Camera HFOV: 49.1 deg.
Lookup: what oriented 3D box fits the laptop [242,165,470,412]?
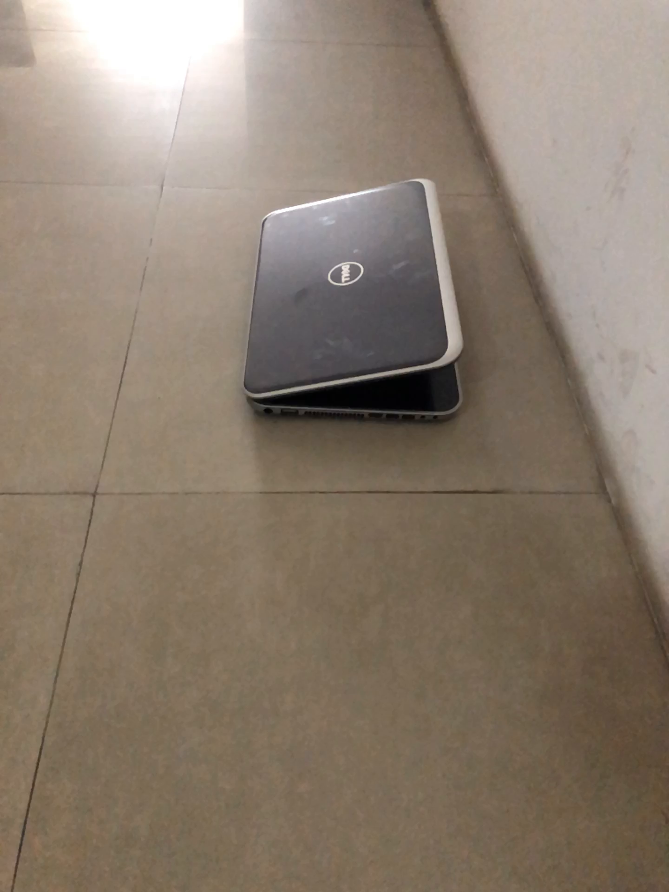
[{"bbox_3d":[0.020,-0.207,0.895,0.234,0.079,0.362,1,51,-1],"label":"laptop"}]
